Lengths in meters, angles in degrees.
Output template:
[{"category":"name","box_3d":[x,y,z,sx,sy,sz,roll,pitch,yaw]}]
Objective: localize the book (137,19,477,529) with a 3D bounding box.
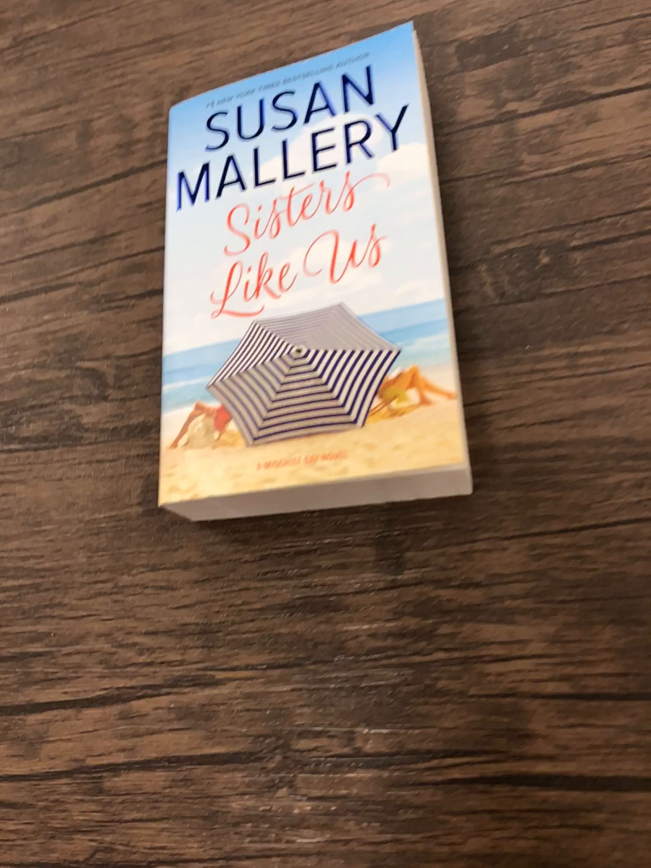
[{"category":"book","box_3d":[-0.010,-0.053,0.263,0.104,0.043,0.160,-9,72,18]}]
